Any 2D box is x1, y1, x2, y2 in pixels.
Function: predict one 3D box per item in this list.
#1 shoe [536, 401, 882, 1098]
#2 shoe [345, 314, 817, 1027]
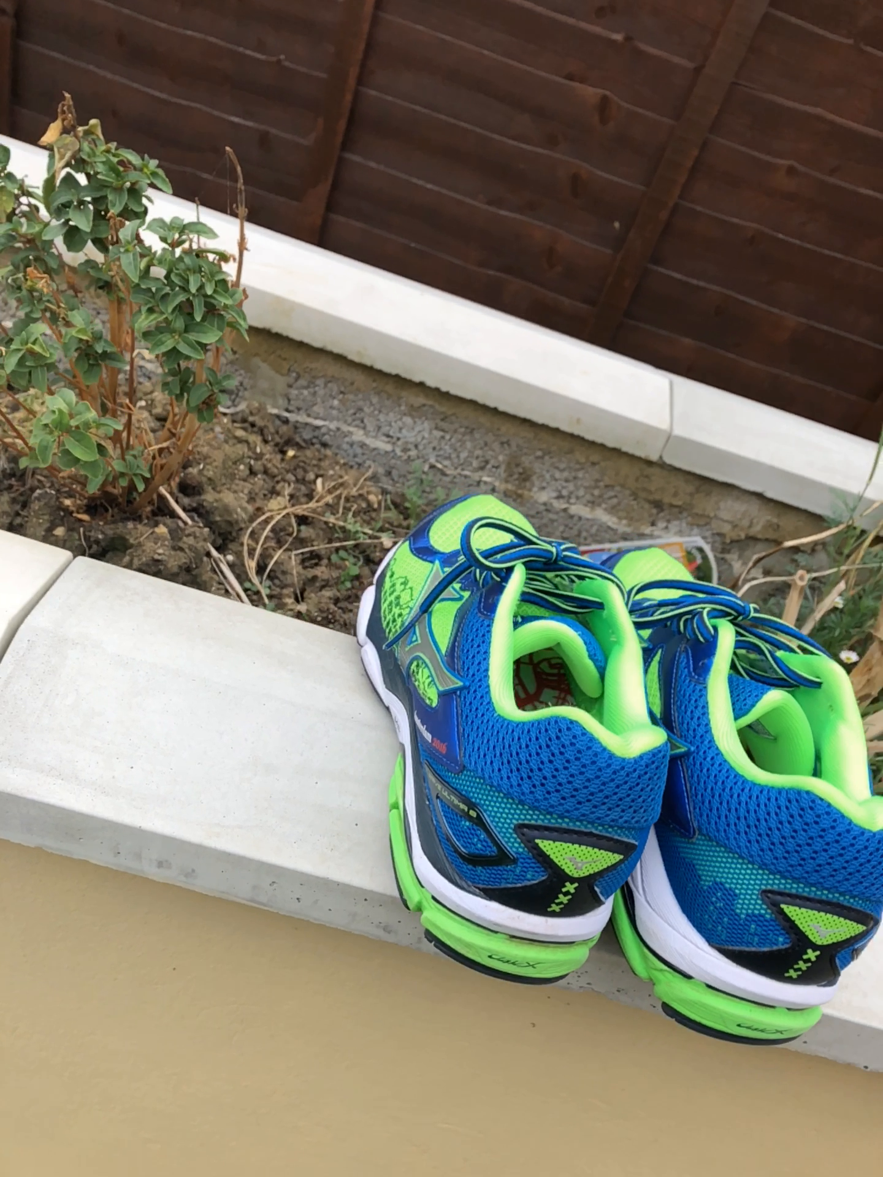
[{"bbox_3d":[0.122,0.042,0.436,0.110,0.119,0.292,17,32,-8],"label":"shoe"},{"bbox_3d":[0.031,0.011,0.419,0.110,0.119,0.292,12,37,-13],"label":"shoe"}]
